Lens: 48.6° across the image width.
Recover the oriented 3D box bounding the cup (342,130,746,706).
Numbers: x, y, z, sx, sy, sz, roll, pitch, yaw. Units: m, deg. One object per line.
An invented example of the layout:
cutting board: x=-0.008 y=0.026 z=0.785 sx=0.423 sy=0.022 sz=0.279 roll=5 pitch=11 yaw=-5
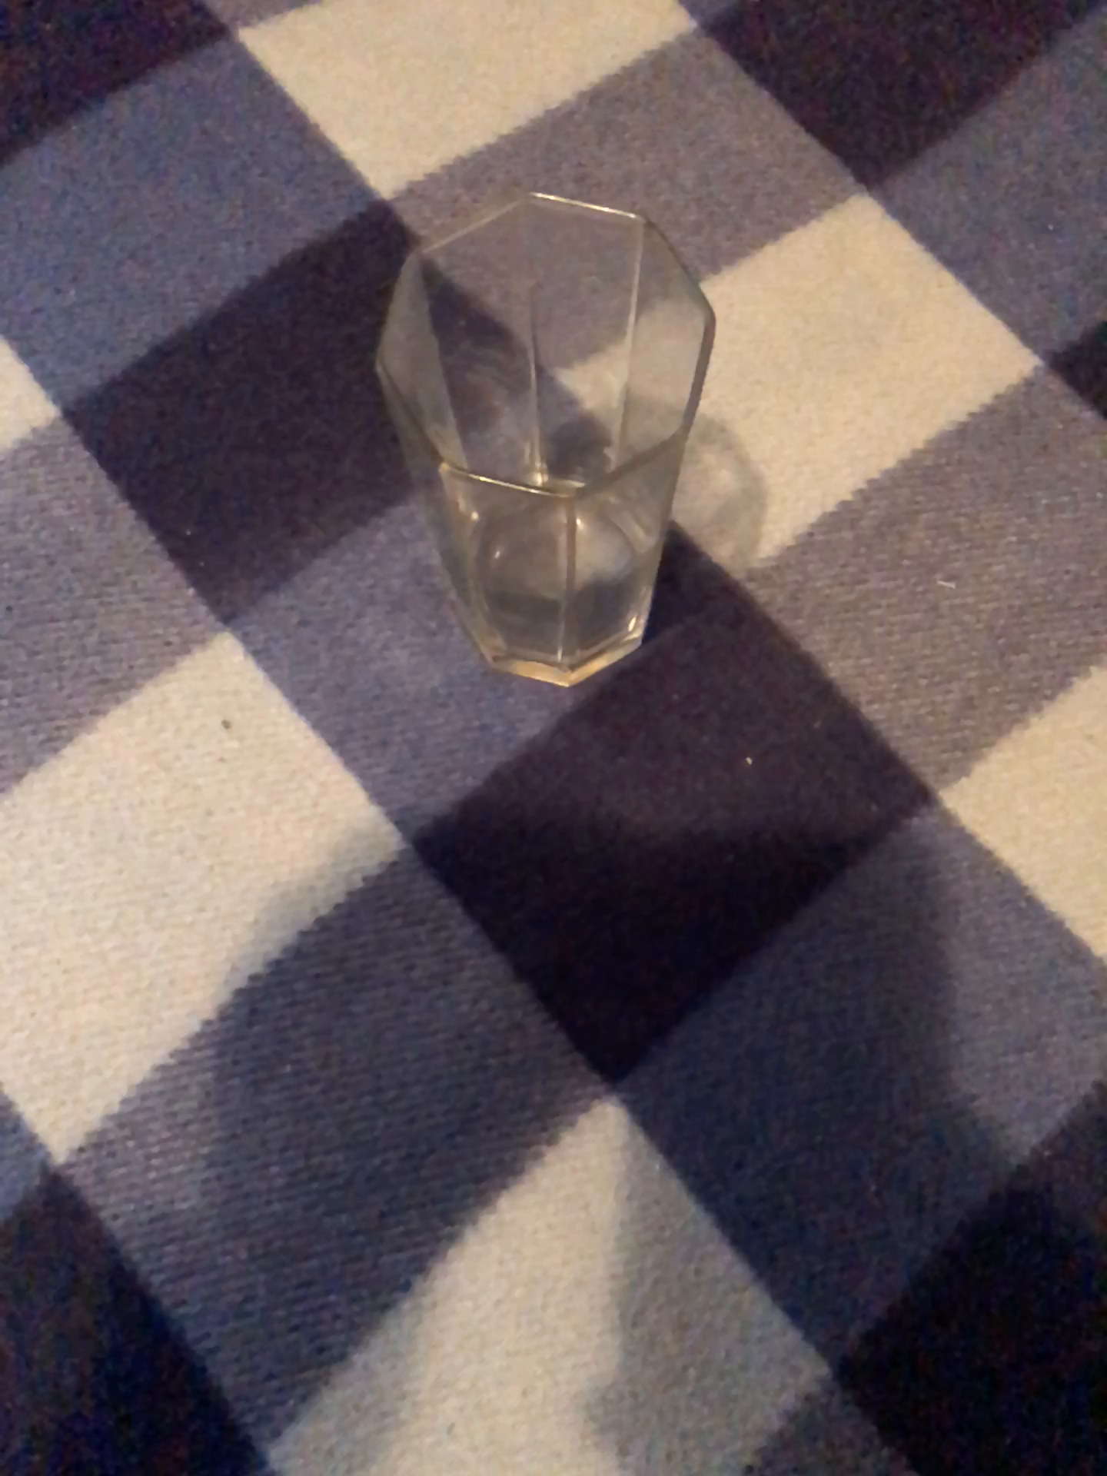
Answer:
cup: x=-0.001 y=-0.069 z=0.315 sx=0.077 sy=0.137 sz=0.082 roll=0 pitch=75 yaw=-1
